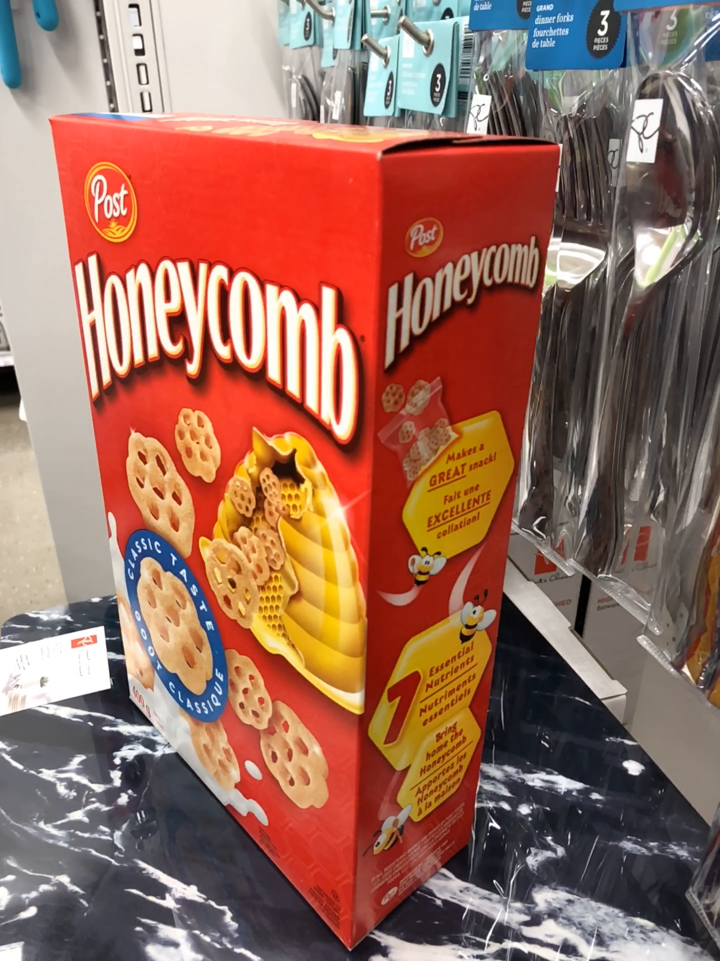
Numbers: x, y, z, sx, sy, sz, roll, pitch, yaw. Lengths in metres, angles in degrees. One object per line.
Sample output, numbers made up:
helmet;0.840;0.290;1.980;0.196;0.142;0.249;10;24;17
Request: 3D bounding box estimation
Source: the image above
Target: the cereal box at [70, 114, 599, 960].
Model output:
cereal box;-0.030;0.010;0.343;0.070;0.299;0.211;-18;32;-36
